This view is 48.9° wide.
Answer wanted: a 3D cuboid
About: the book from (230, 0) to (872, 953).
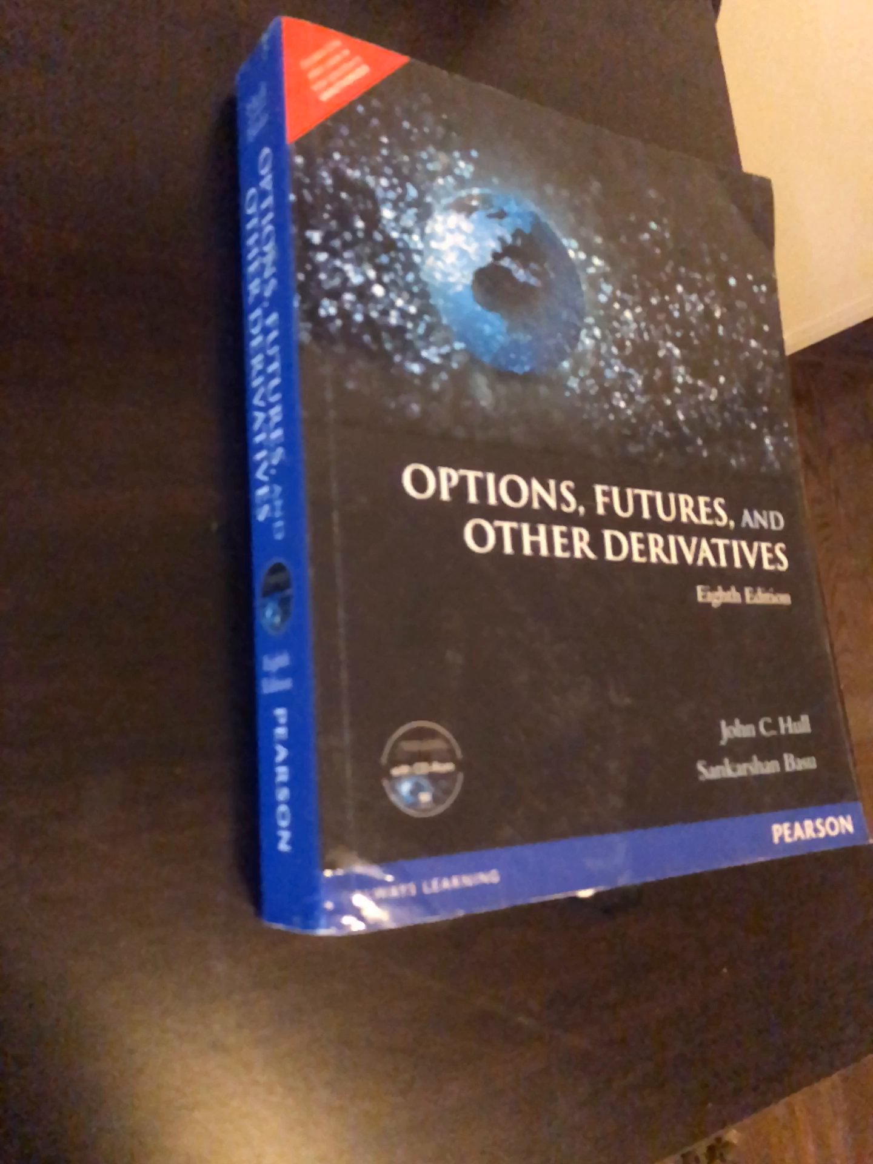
[{"bbox_3d":[0.043,-0.032,0.325,0.208,0.050,0.261,2,78,-32],"label":"book"}]
